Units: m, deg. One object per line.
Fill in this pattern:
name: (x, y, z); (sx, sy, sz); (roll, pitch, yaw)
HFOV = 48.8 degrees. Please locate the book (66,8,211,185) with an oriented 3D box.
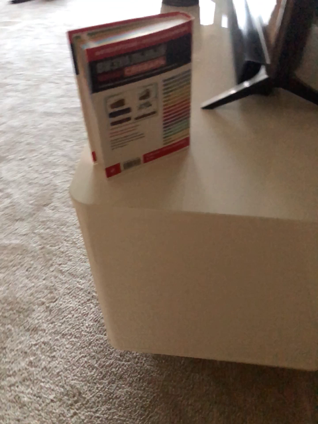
book: (-0.022, -0.144, 0.454); (0.150, 0.179, 0.060); (-22, 50, -20)
